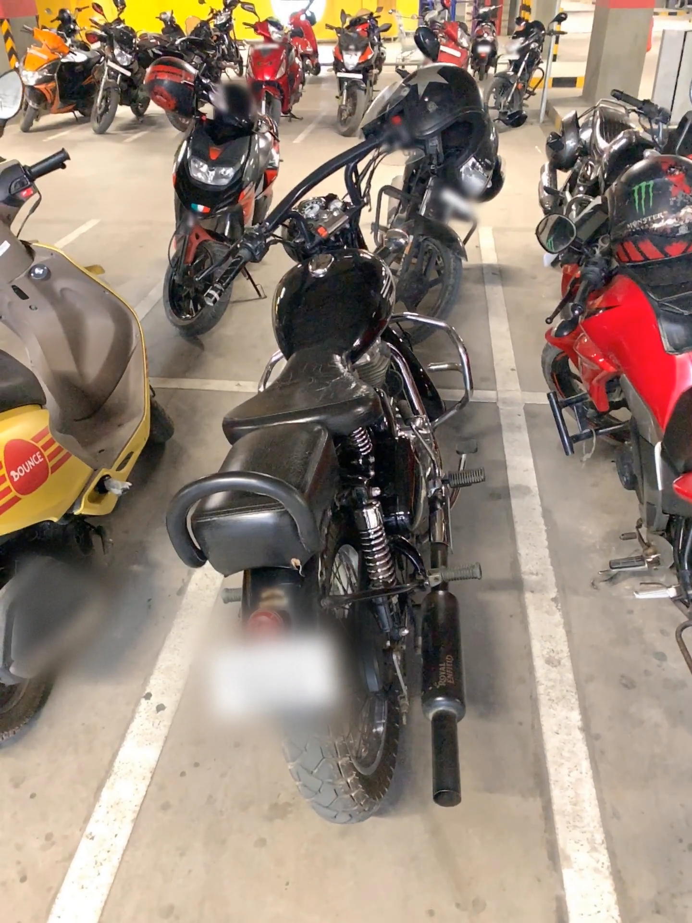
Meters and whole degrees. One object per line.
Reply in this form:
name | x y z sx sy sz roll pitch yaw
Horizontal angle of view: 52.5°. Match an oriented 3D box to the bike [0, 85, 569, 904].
bike | -0.181 -0.208 1.960 0.799 1.303 2.032 -1 33 0
